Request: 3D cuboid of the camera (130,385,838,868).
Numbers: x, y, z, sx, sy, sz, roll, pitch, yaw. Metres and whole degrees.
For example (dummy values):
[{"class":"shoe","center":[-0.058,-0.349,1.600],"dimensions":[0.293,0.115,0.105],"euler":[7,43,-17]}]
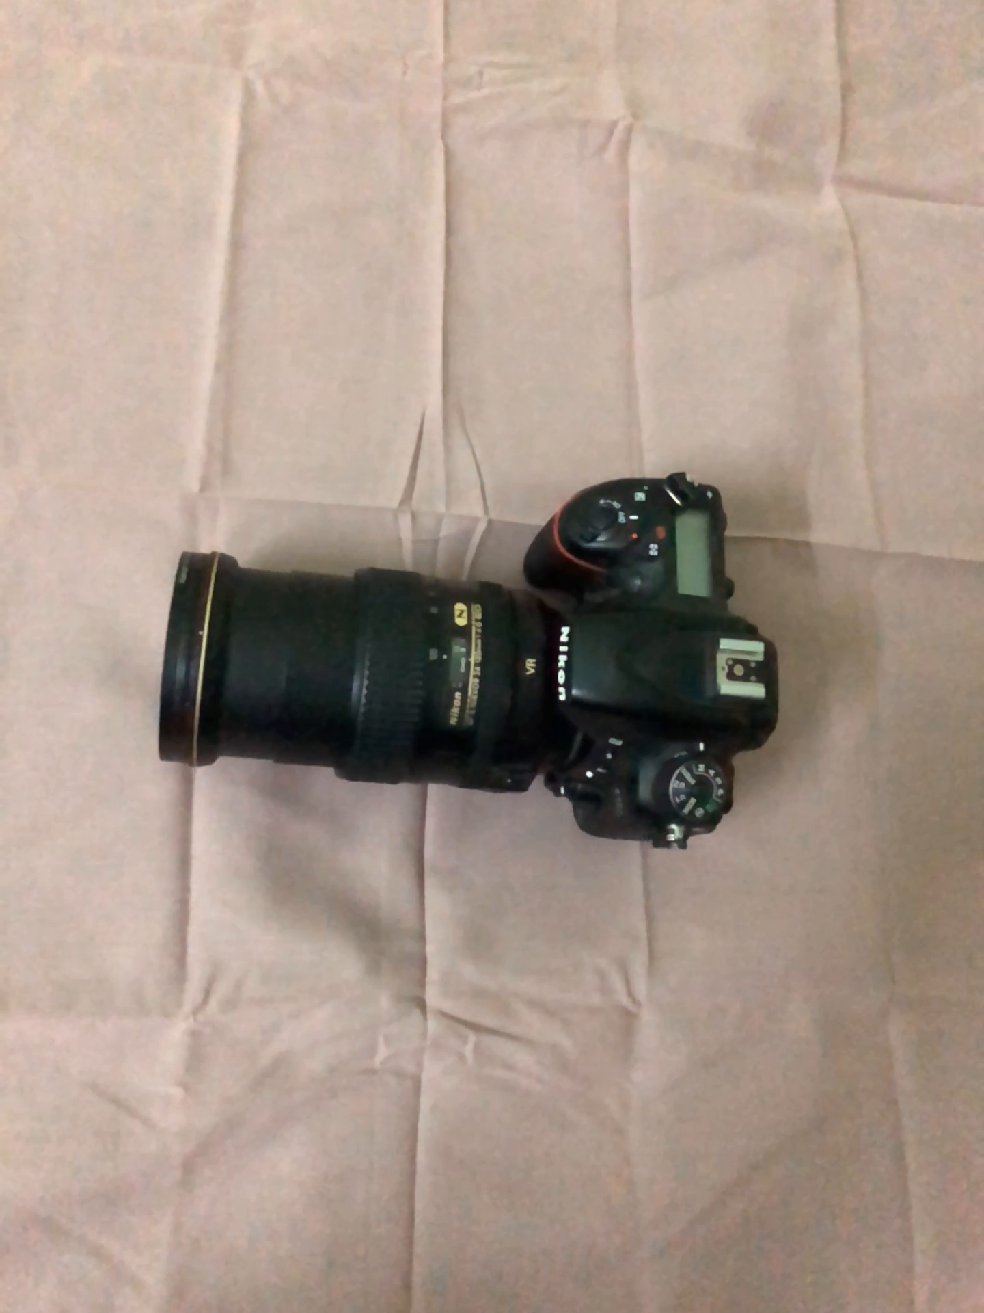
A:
[{"class":"camera","center":[-0.004,0.002,0.414],"dimensions":[0.231,0.110,0.139],"euler":[6,76,-13]}]
